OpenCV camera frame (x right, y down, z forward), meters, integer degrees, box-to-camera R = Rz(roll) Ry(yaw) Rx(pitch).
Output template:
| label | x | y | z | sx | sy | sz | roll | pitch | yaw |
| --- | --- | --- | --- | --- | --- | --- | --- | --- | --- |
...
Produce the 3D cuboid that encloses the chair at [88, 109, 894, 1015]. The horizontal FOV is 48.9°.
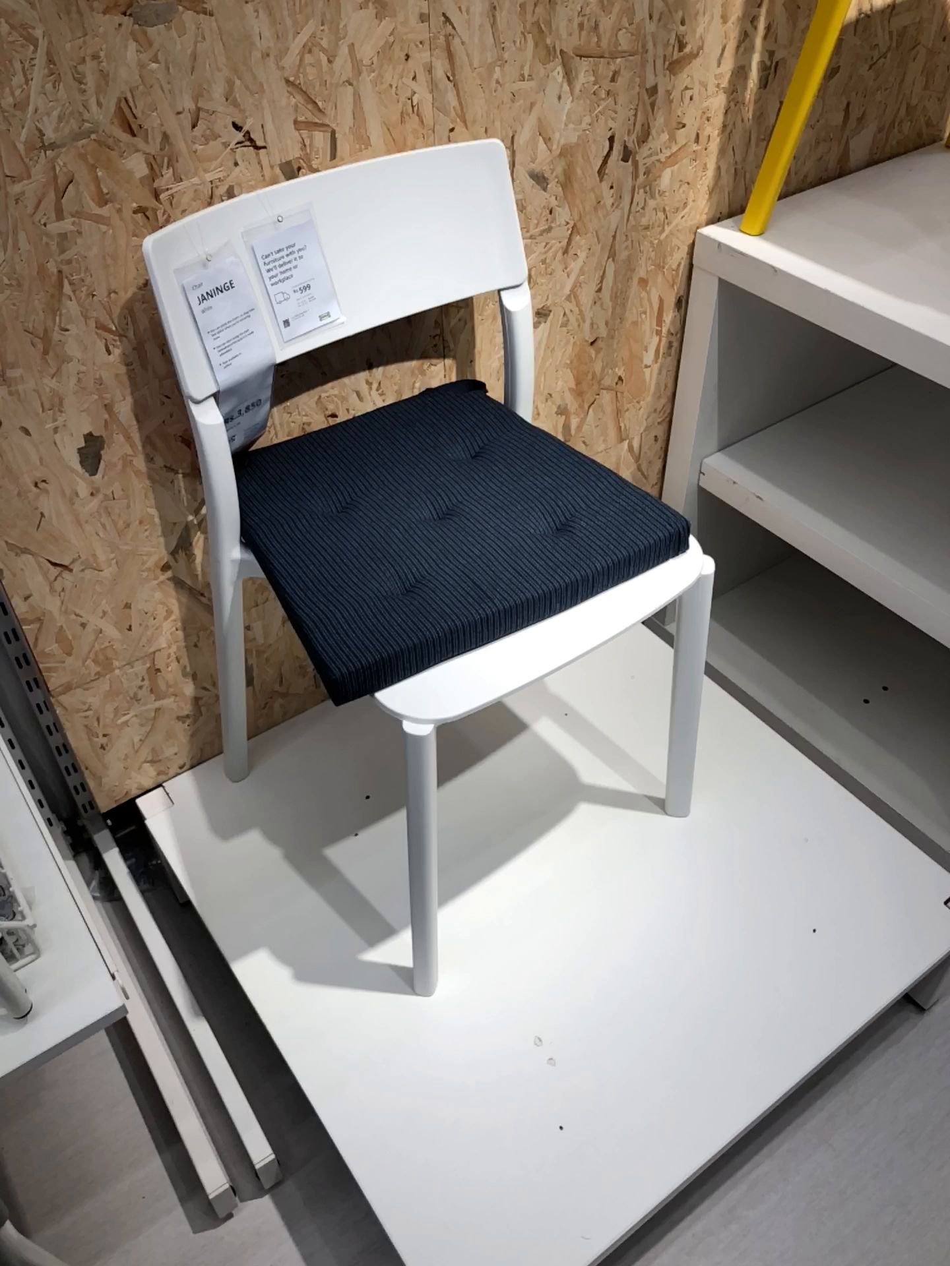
| label | x | y | z | sx | sy | sz | roll | pitch | yaw |
| --- | --- | --- | --- | --- | --- | --- | --- | --- | --- |
| chair | 0.005 | -0.077 | 1.101 | 0.491 | 0.685 | 0.462 | -27 | 50 | -25 |
